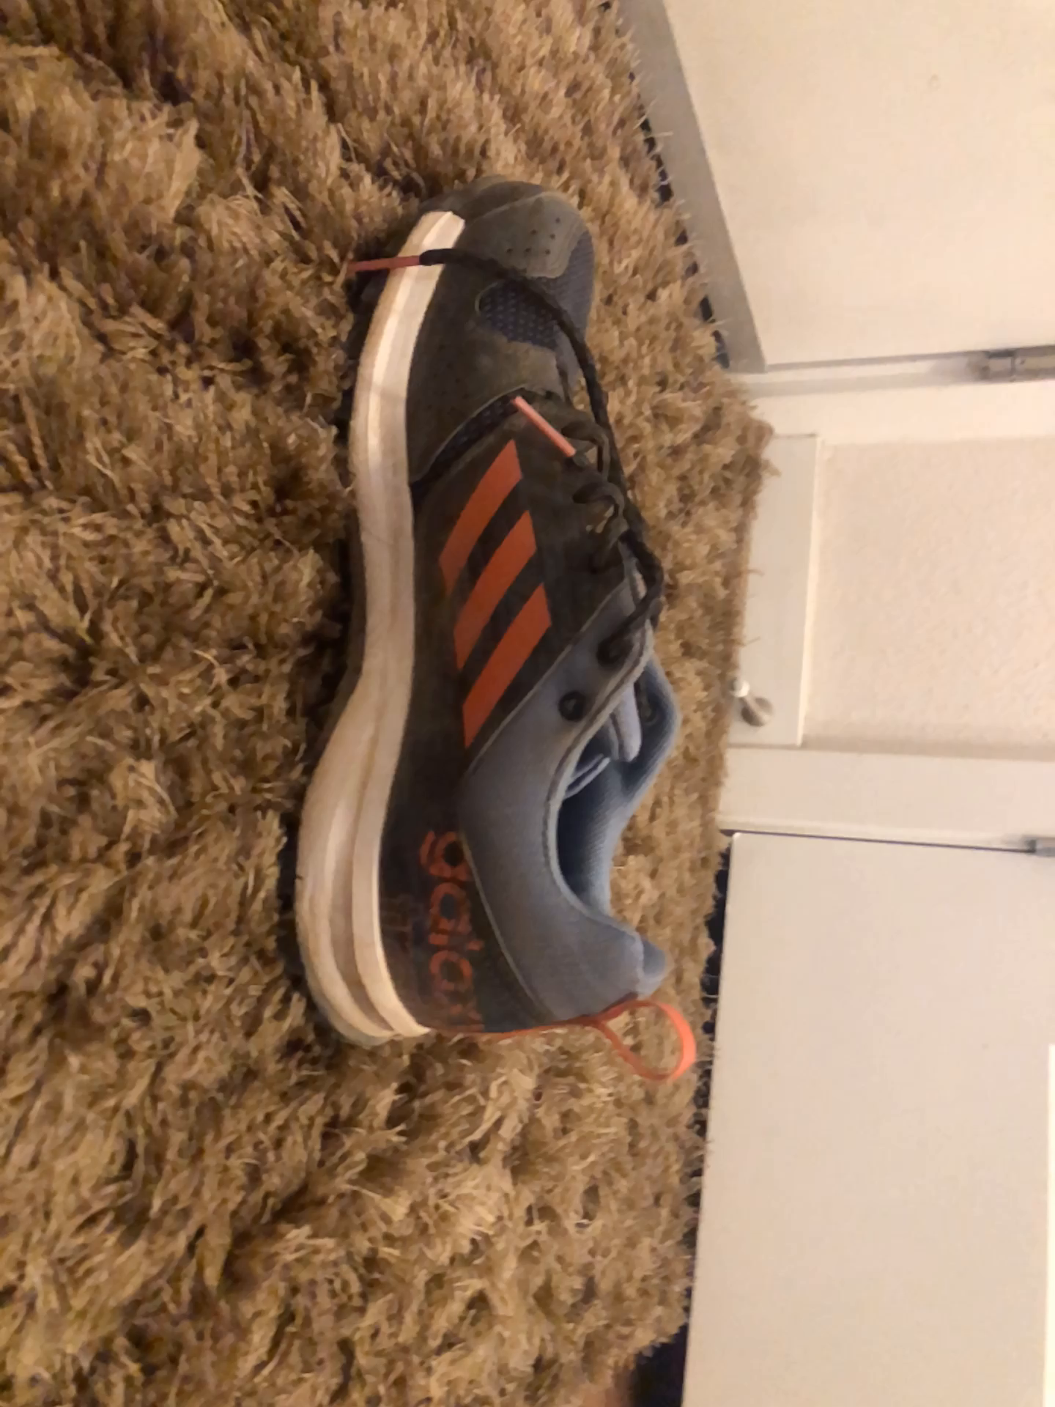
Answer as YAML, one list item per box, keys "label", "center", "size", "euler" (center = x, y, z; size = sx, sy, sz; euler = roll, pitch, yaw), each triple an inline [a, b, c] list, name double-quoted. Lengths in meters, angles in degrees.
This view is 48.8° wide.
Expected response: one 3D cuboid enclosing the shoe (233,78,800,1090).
- label: "shoe"
  center: [0.013, -0.031, 0.363]
  size: [0.113, 0.109, 0.275]
  euler: [42, 53, -64]
